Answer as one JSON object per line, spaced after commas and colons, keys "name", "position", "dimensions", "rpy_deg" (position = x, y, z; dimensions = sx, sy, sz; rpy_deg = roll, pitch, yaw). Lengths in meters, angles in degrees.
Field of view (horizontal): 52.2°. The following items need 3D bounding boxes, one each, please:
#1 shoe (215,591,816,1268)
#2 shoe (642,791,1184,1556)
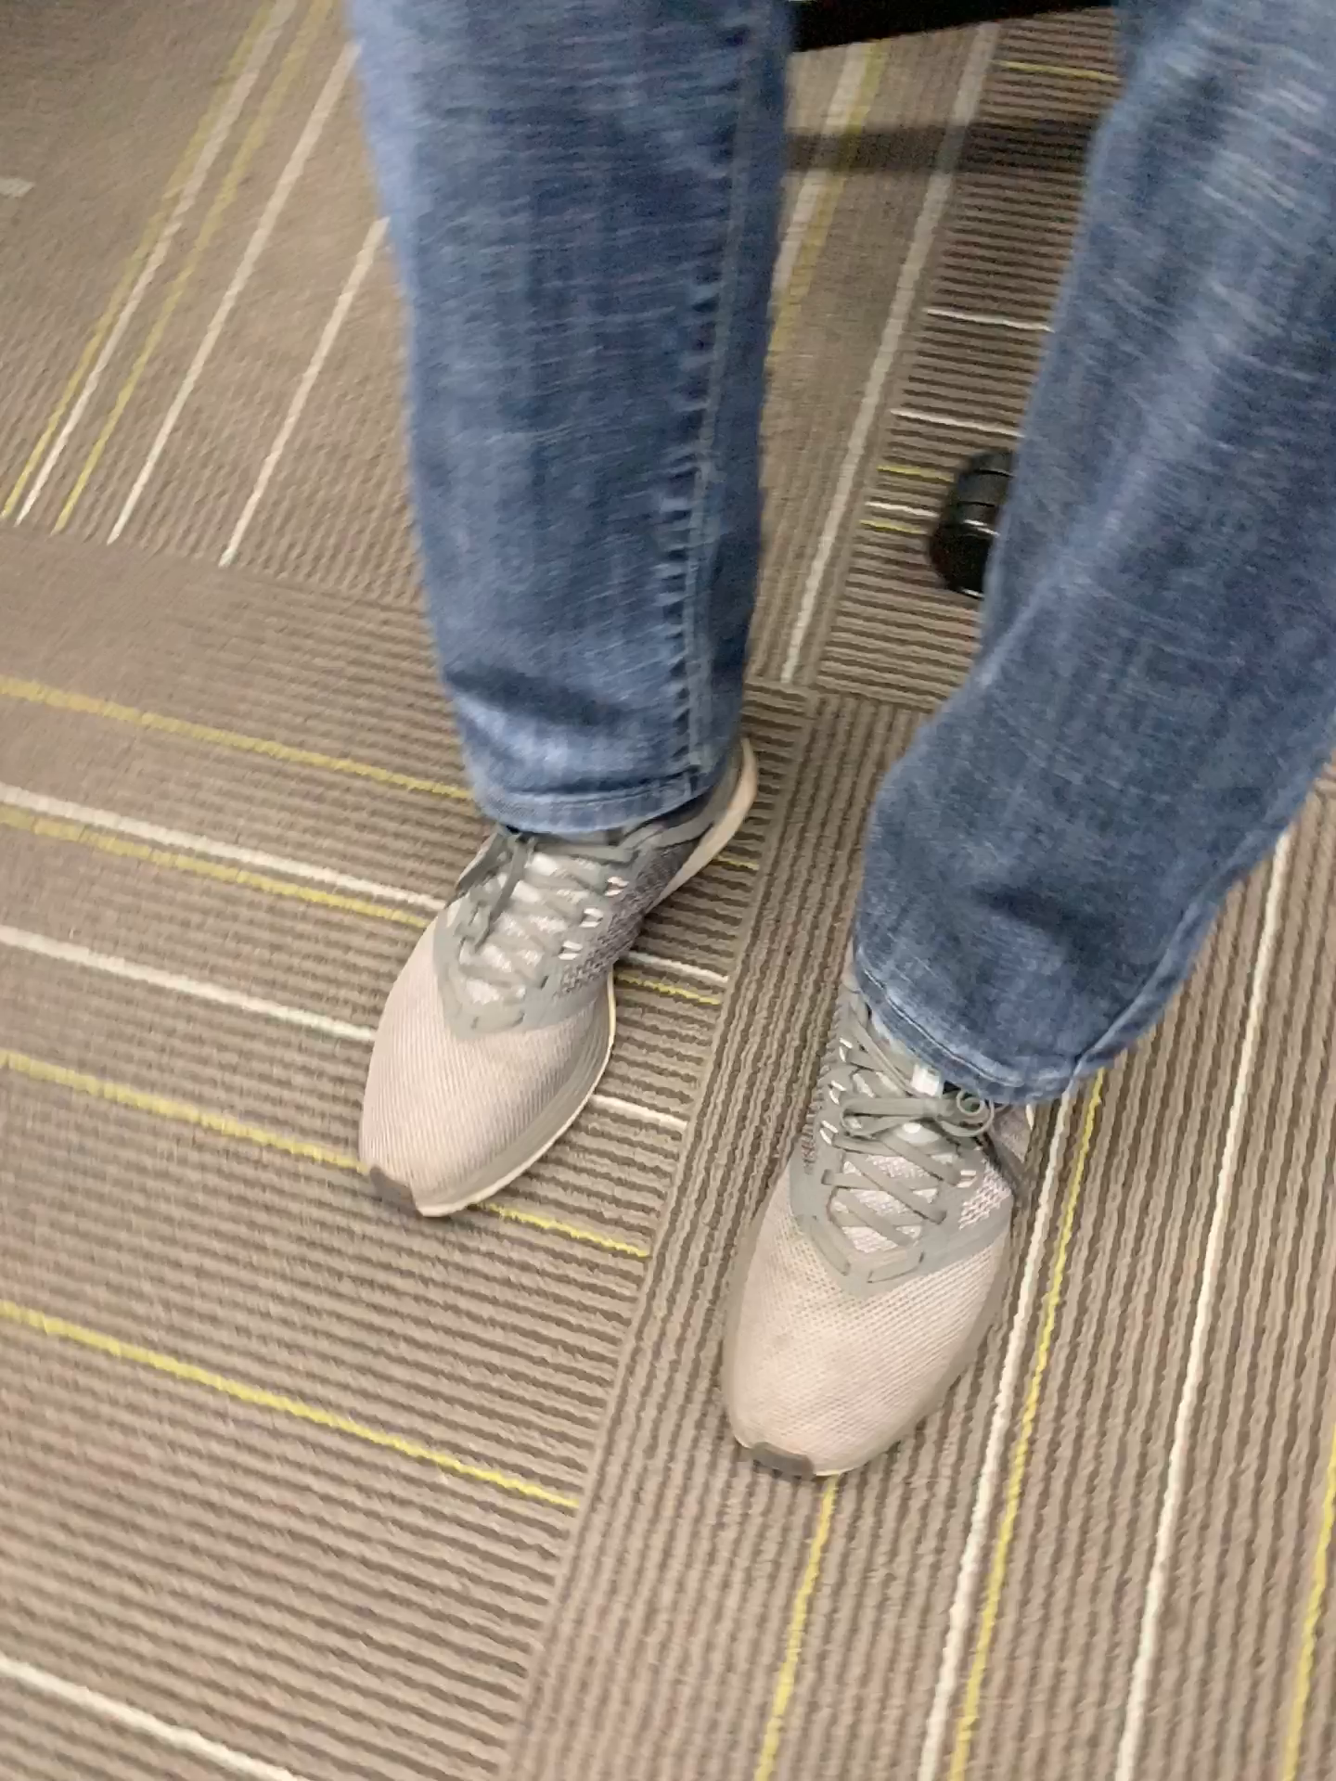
{"name": "shoe", "position": [-0.061, 0.015, 0.645], "dimensions": [0.132, 0.078, 0.284], "rpy_deg": [30, 76, 16]}
{"name": "shoe", "position": [0.110, 0.115, 0.599], "dimensions": [0.124, 0.078, 0.286], "rpy_deg": [22, 74, 14]}
